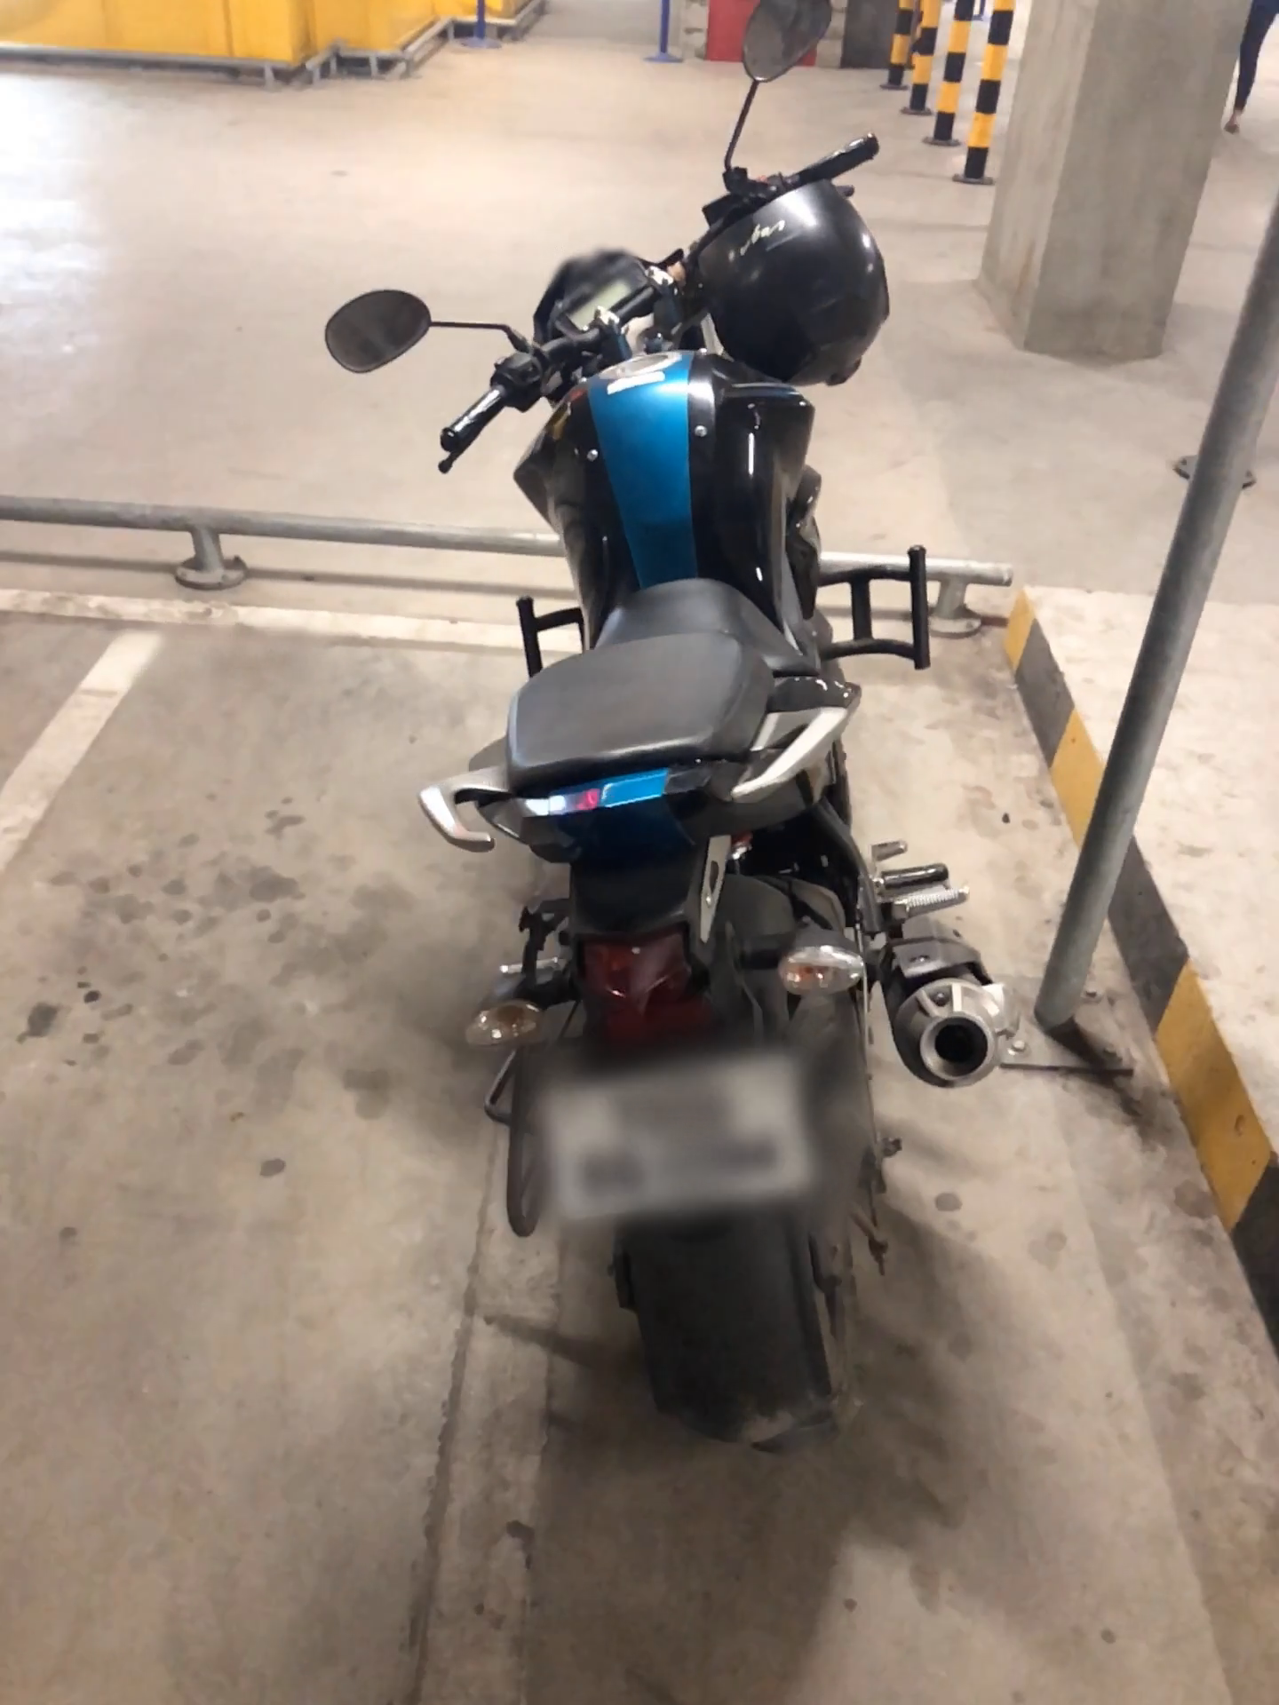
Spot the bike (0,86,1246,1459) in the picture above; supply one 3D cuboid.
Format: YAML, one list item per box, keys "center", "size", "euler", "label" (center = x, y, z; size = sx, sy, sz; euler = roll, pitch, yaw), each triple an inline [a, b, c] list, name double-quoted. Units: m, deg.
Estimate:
- center: [-0.104, -0.232, 1.652]
  size: [0.766, 0.950, 1.422]
  euler: [1, 36, -4]
  label: "bike"
